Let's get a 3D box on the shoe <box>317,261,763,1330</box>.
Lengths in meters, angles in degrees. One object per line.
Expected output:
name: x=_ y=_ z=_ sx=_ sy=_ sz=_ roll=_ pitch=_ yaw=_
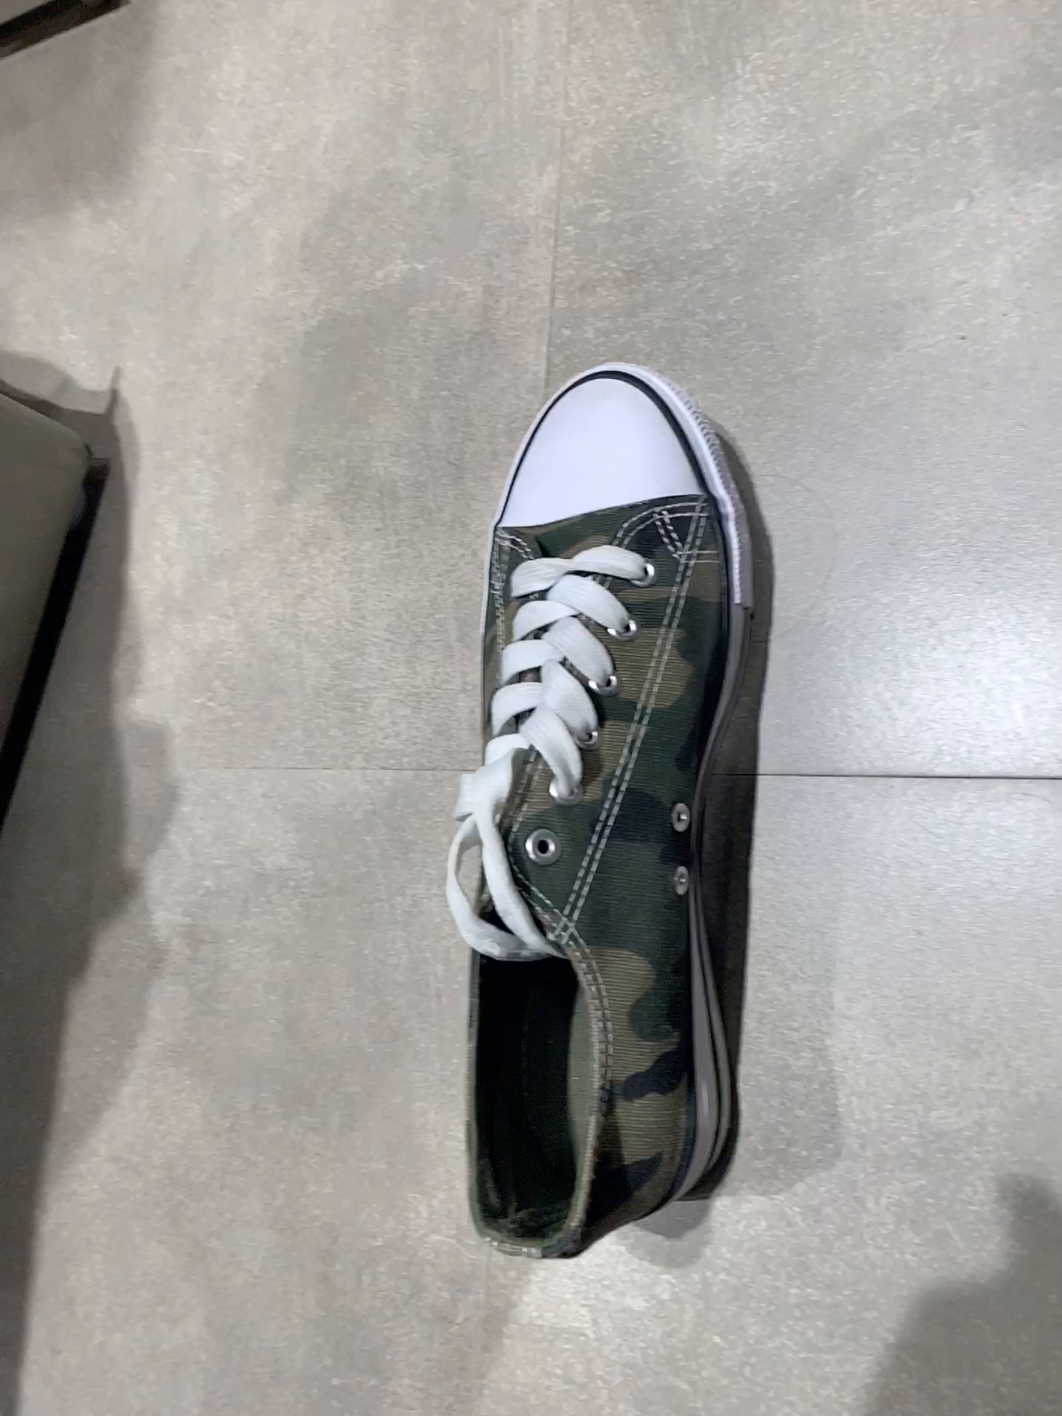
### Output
shoe: x=0.007 y=0.020 z=0.329 sx=0.099 sy=0.079 sz=0.266 roll=-5 pitch=79 yaw=30
